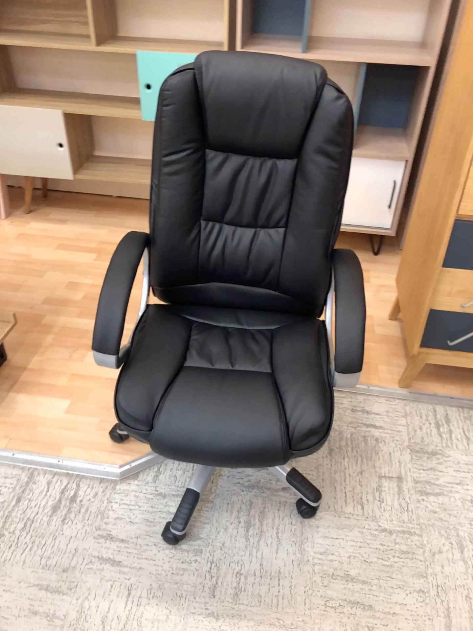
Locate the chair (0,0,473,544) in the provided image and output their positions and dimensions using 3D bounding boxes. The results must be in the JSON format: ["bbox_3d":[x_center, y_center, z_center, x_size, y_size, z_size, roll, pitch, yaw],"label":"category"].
[{"bbox_3d":[-0.093,-0.086,1.227,0.760,1.063,0.684,2,36,0],"label":"chair"}]
